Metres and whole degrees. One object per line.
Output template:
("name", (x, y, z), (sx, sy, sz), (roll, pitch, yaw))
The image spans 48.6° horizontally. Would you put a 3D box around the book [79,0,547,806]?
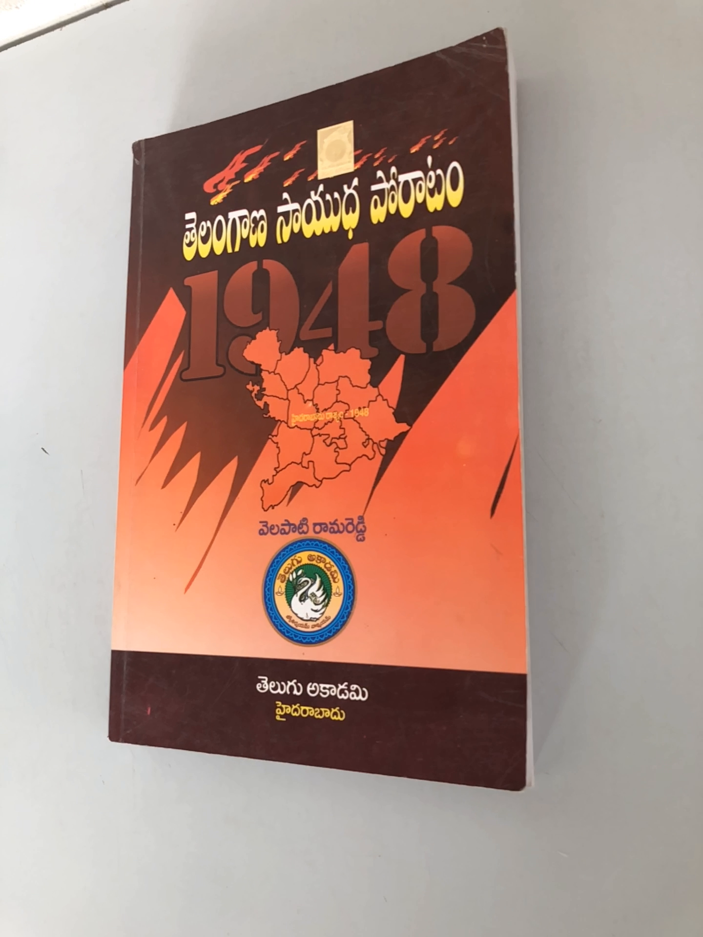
("book", (-0.019, -0.029, 0.295), (0.170, 0.030, 0.270), (-3, 81, 24))
